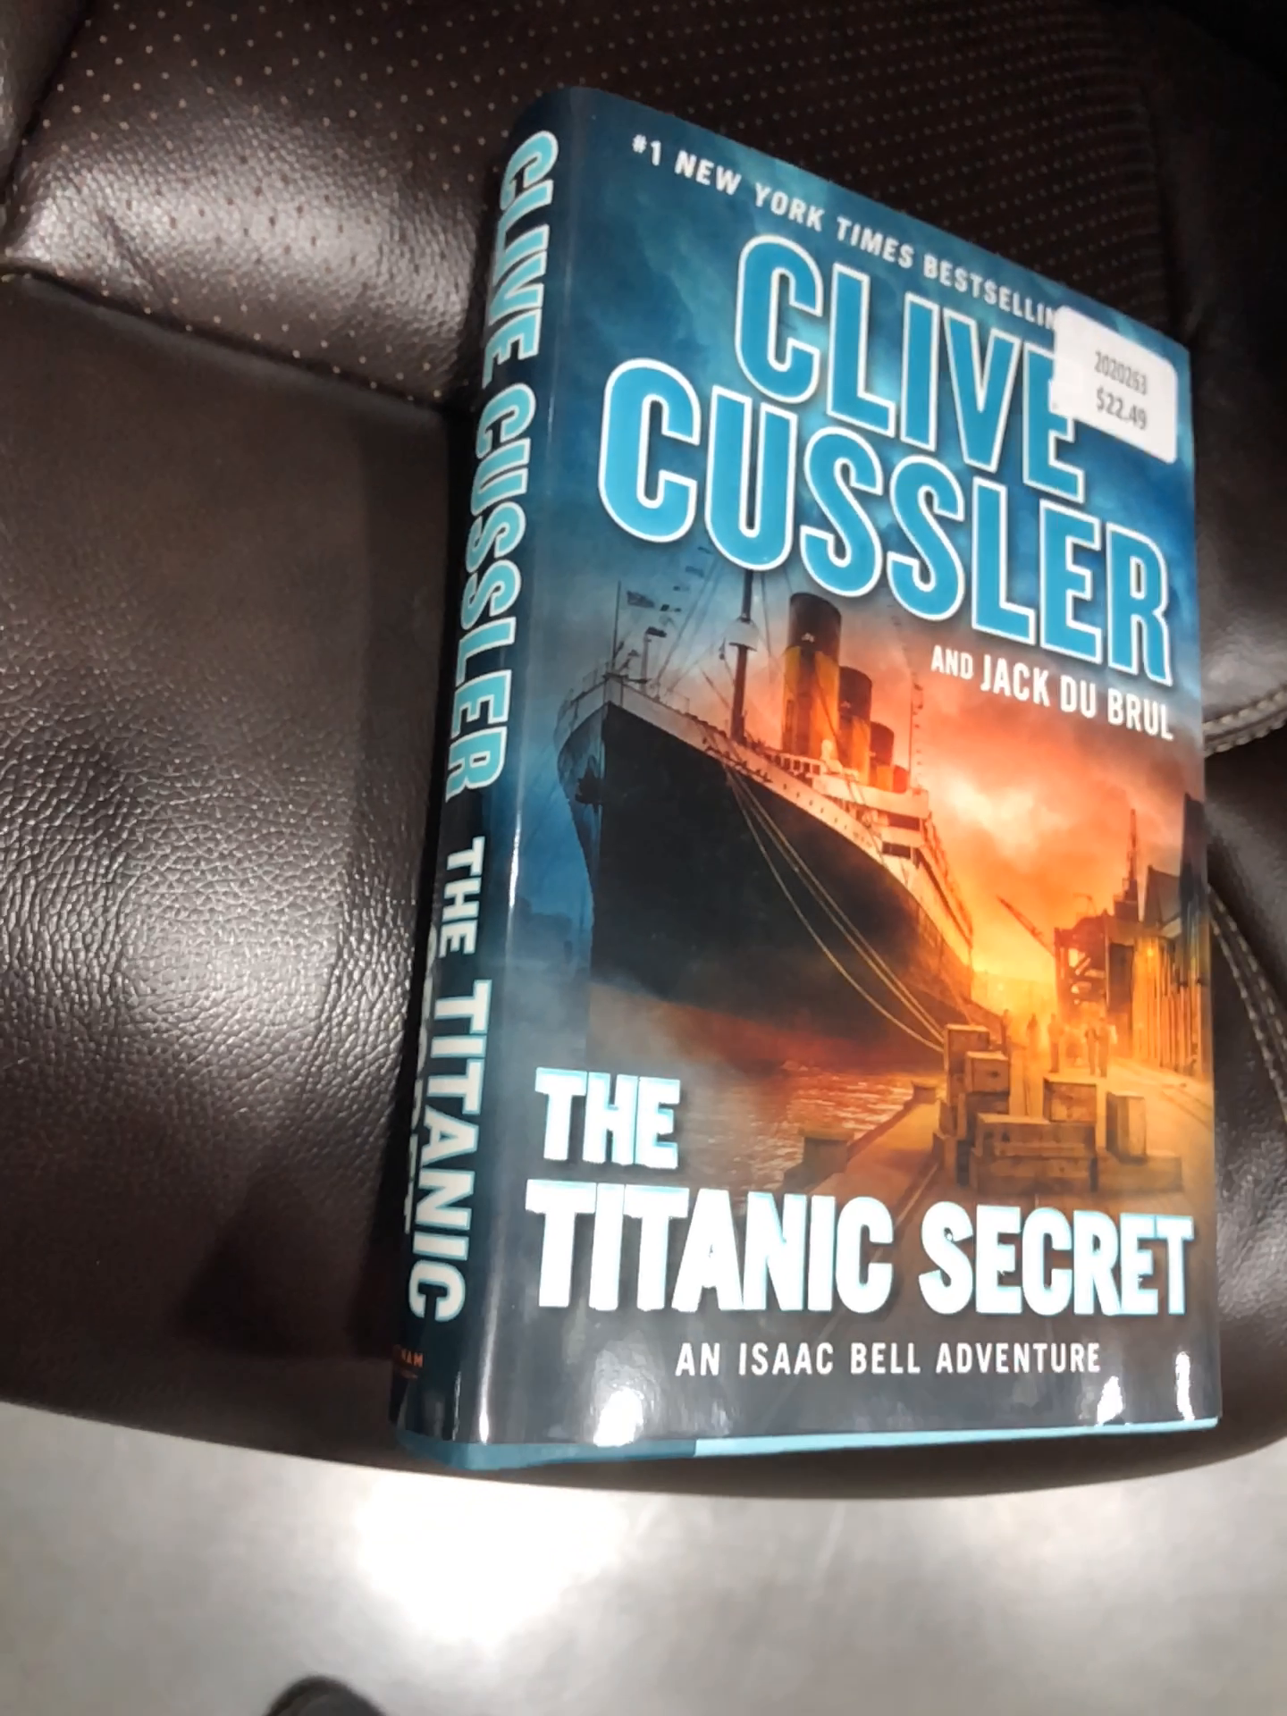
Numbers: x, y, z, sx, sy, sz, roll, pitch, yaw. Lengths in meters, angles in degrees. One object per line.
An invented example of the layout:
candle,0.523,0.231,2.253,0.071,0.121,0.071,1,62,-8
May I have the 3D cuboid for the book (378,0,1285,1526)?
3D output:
book,0.047,-0.014,0.280,0.166,0.040,0.249,10,77,-26
